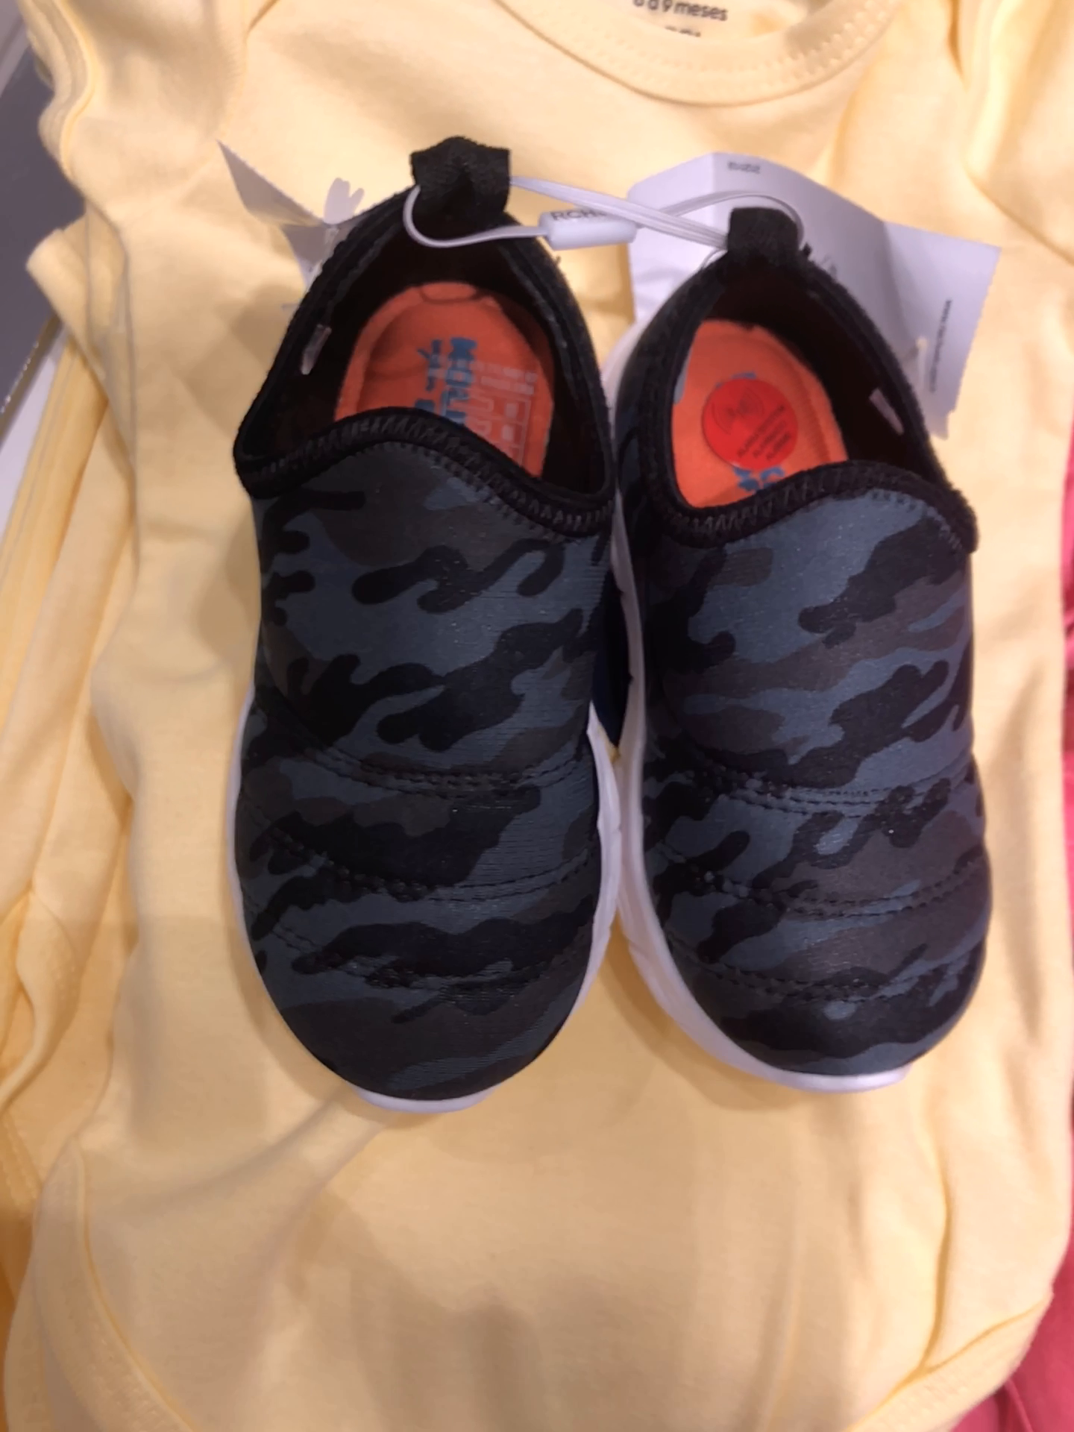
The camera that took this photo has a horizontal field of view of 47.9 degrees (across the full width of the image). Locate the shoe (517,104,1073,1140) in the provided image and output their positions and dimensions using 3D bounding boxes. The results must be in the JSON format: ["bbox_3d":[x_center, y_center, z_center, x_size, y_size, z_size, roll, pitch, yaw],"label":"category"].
[{"bbox_3d":[0.045,-0.015,0.207,0.070,0.070,0.150,-6,78,-10],"label":"shoe"}]

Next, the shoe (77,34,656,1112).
[{"bbox_3d":[-0.026,-0.017,0.203,0.070,0.080,0.150,1,77,-9],"label":"shoe"}]
